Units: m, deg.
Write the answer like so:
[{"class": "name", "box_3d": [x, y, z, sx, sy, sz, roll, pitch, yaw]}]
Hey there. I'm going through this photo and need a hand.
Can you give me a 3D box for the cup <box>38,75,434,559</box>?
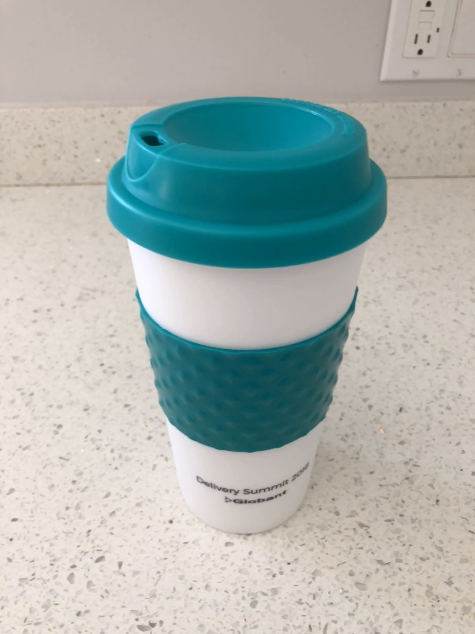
[{"class": "cup", "box_3d": [0.004, 0.002, 0.223, 0.100, 0.169, 0.100, 0, 36, 0]}]
